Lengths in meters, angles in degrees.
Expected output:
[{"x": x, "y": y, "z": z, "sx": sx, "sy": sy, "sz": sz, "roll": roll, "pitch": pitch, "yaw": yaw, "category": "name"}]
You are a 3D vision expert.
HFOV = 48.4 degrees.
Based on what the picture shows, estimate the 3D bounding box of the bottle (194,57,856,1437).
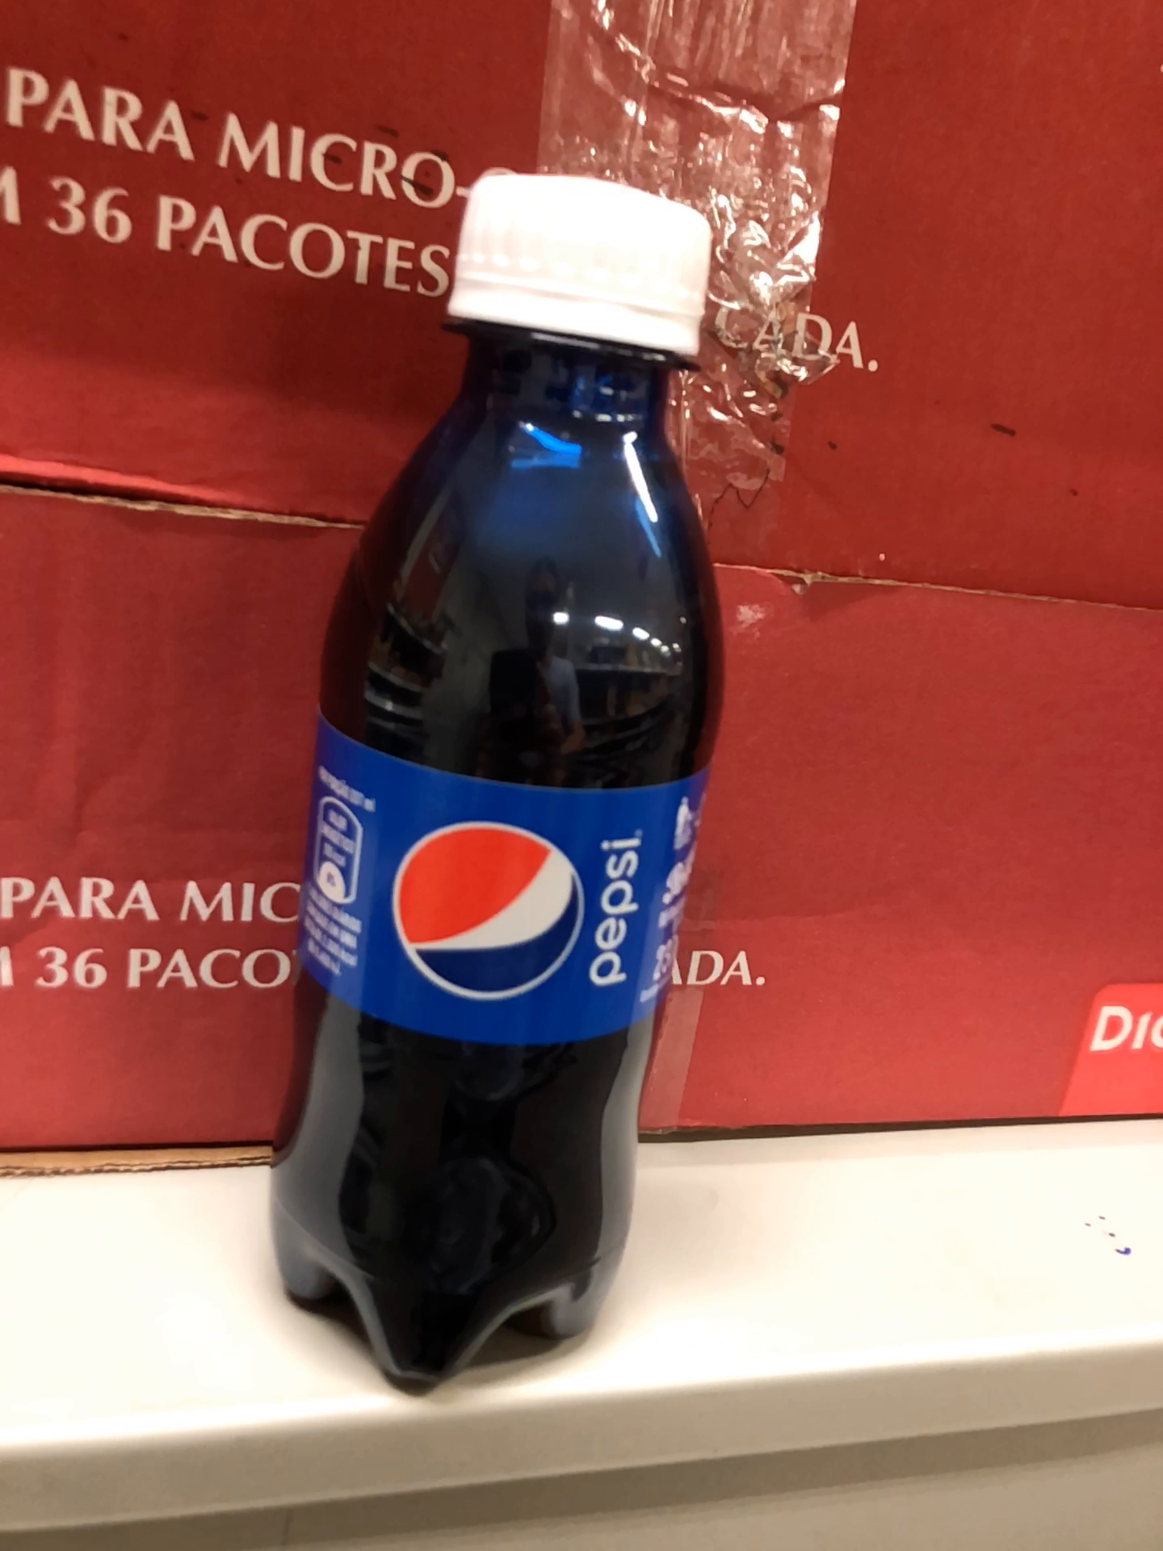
[{"x": -0.018, "y": -0.001, "z": 0.170, "sx": 0.060, "sy": 0.149, "sz": 0.060, "roll": 5, "pitch": 19, "yaw": -2, "category": "bottle"}]
